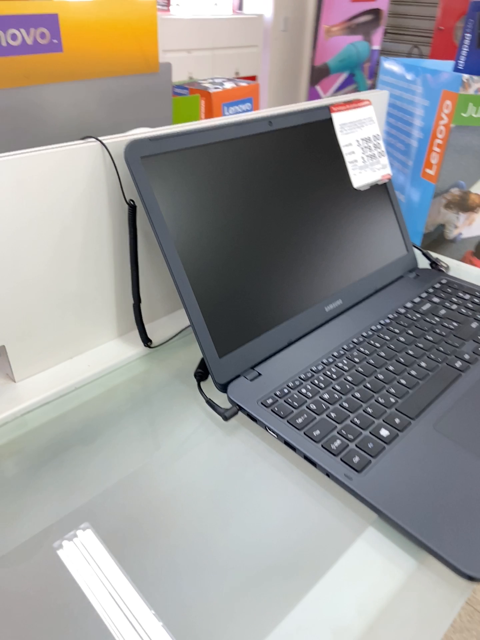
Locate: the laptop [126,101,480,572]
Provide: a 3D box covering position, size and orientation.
[{"bbox_3d":[0.160,-0.065,0.480,0.372,0.192,0.369,-27,42,-36],"label":"laptop"}]
